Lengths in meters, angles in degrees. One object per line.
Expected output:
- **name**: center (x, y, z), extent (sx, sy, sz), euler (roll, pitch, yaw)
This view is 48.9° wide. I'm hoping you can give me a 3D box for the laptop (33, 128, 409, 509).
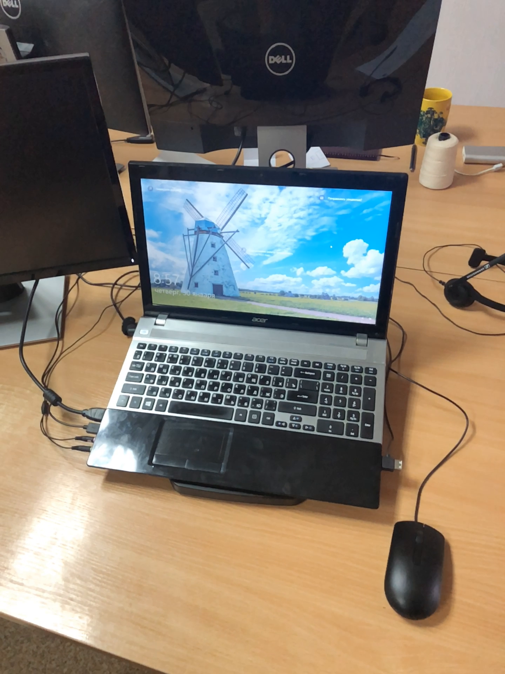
- **laptop**: center (-0.009, -0.041, 0.713), extent (0.373, 0.211, 0.361), euler (6, 55, 9)
